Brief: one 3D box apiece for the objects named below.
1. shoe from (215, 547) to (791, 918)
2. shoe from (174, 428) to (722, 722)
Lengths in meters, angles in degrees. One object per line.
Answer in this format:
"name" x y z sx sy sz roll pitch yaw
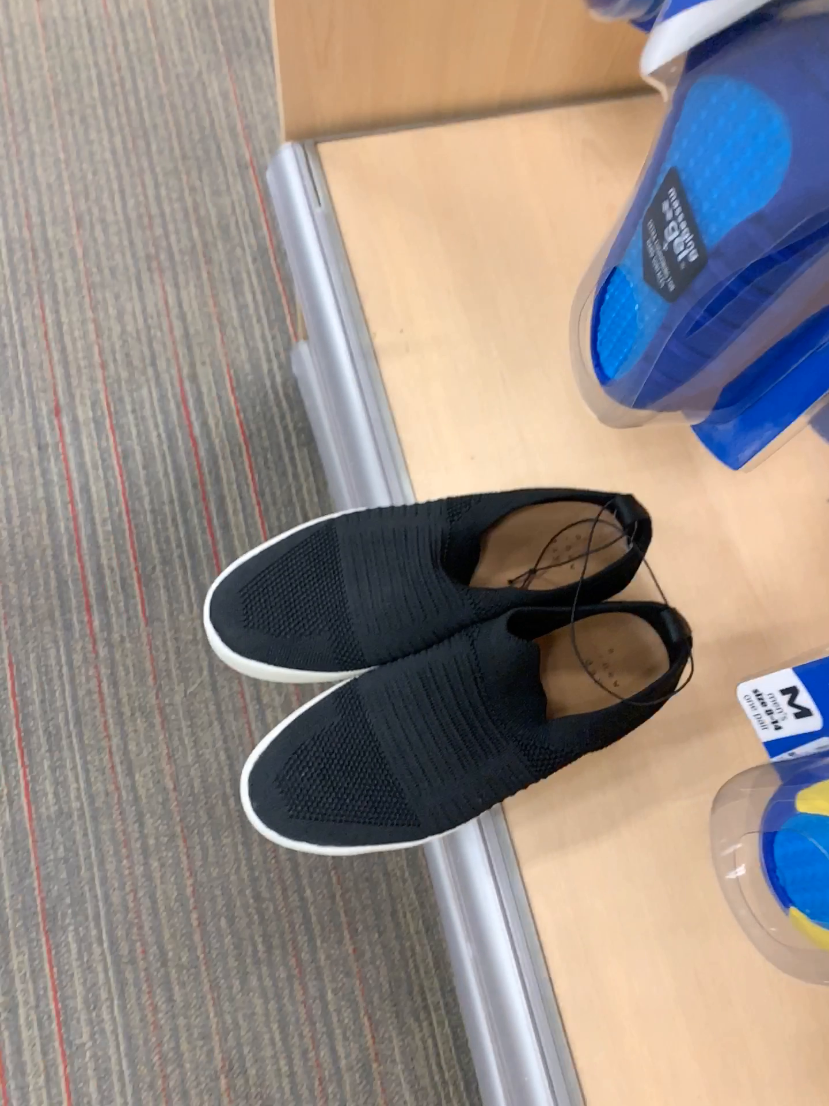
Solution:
"shoe" 0.043 0.095 0.468 0.270 0.100 0.100 -17 75 -10
"shoe" 0.015 0.015 0.488 0.270 0.100 0.100 -10 74 -8
